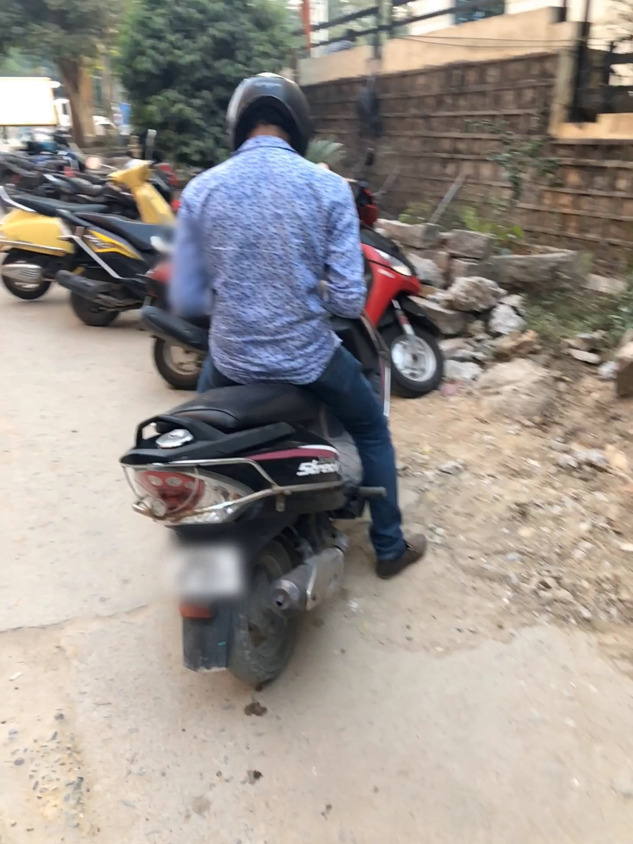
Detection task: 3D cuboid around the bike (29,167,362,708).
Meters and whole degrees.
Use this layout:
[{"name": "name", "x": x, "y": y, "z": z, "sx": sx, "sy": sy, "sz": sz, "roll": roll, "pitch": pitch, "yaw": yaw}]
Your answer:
[{"name": "bike", "x": -0.225, "y": -0.149, "z": 2.264, "sx": 0.559, "sy": 1.055, "sz": 1.482, "roll": 4, "pitch": 26, "yaw": 9}]
